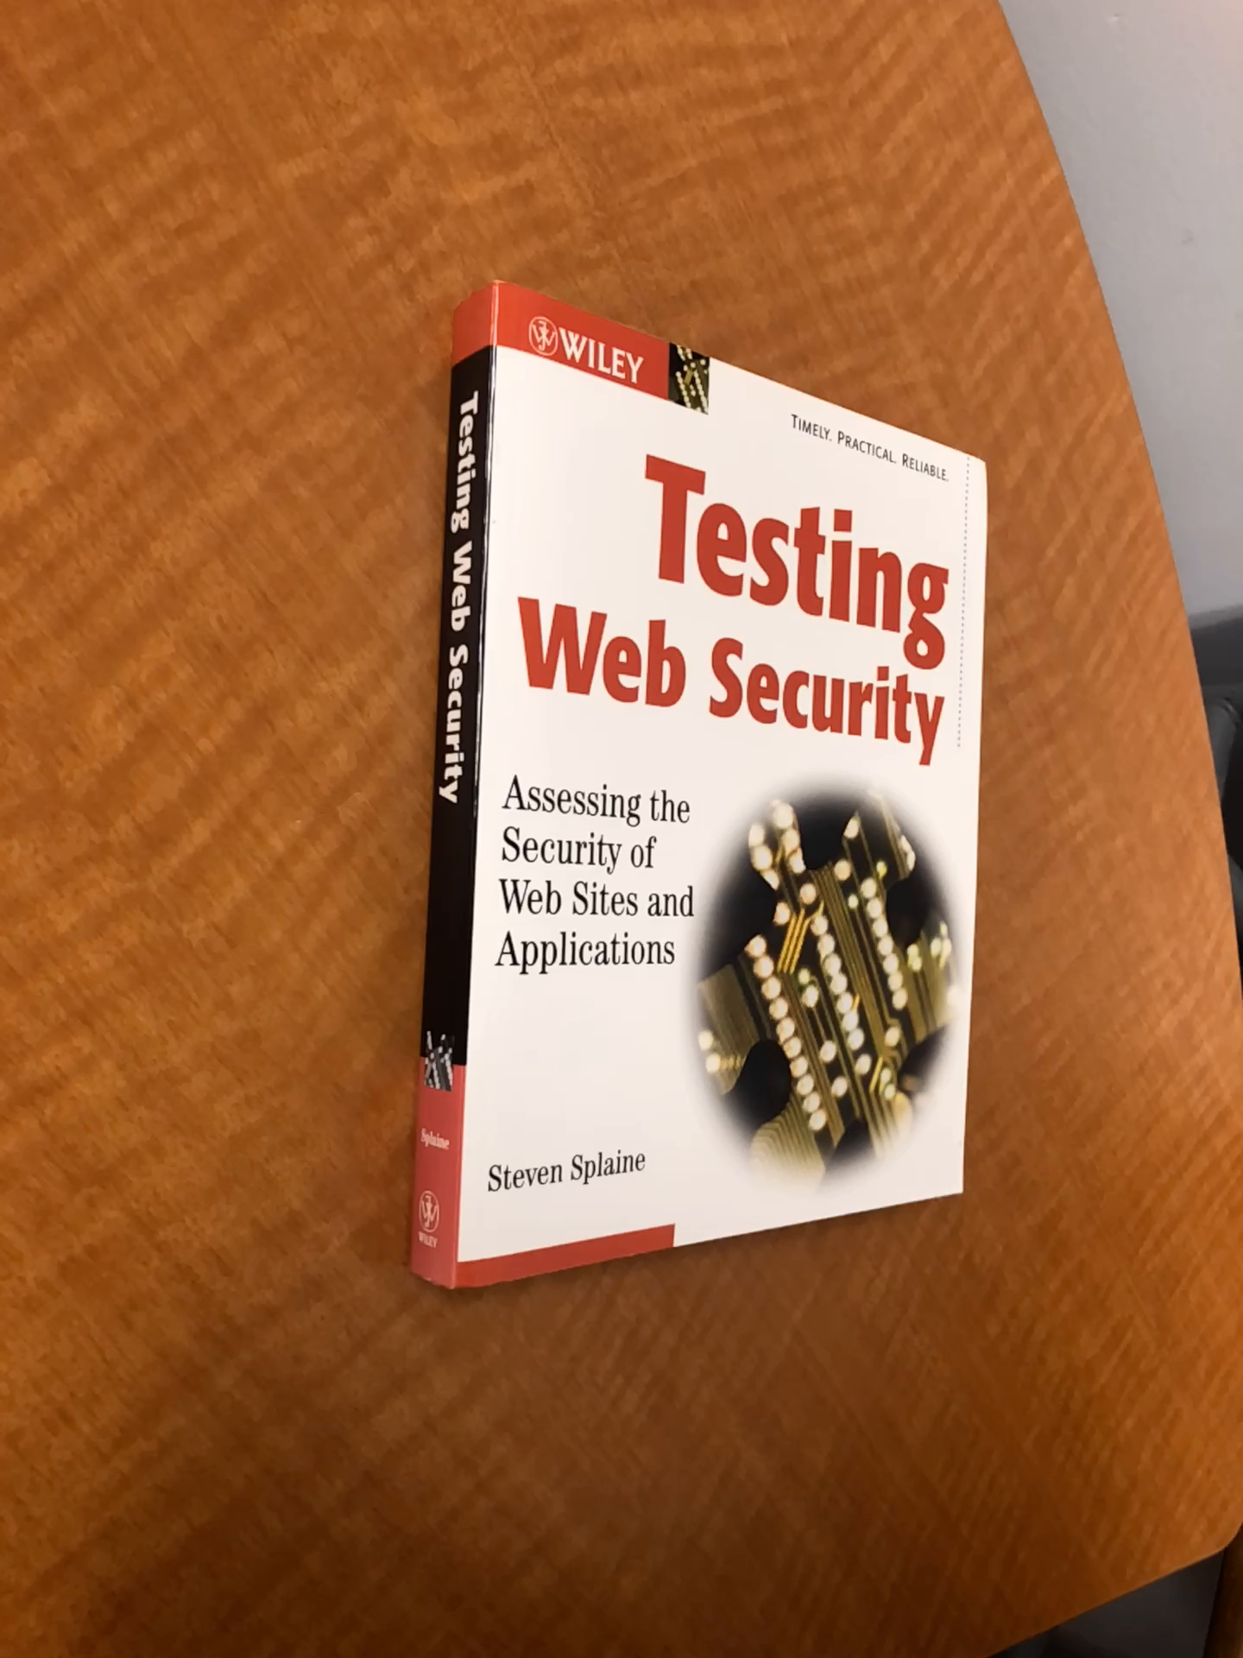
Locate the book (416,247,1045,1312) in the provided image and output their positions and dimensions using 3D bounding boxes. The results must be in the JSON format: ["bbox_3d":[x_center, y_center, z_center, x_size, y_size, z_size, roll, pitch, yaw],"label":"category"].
[{"bbox_3d":[0.043,-0.007,0.372,0.201,0.030,0.230,4,86,-40],"label":"book"}]
